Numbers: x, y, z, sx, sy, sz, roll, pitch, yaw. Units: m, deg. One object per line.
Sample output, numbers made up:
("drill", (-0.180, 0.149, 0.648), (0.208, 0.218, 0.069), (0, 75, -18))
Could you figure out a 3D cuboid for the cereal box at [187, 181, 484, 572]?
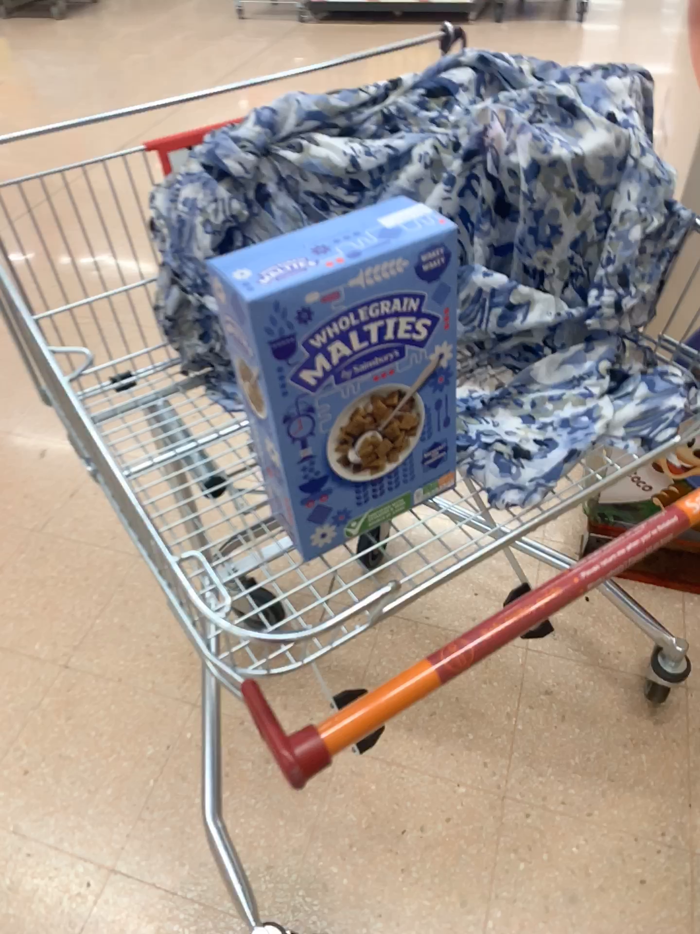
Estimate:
("cereal box", (0.002, -0.077, 0.647), (0.221, 0.287, 0.091), (-25, 44, -21))
